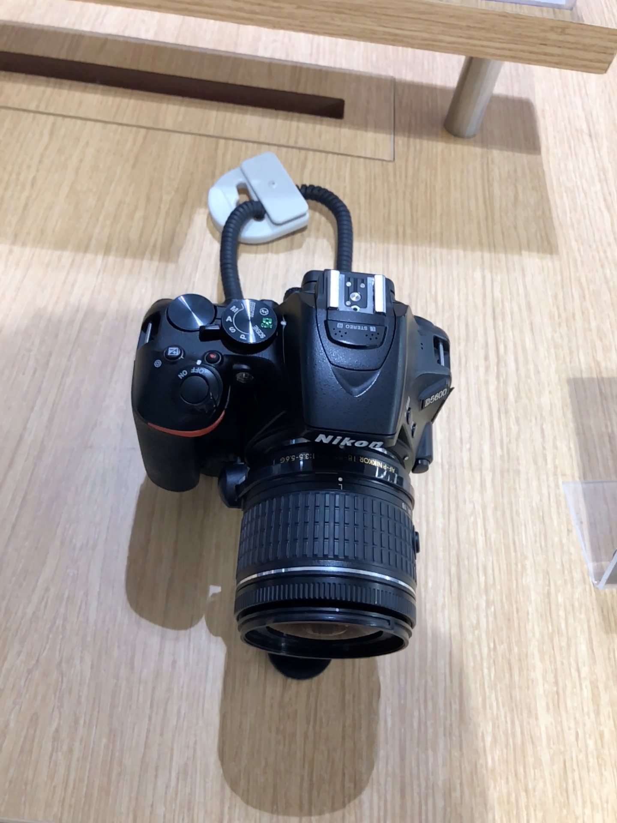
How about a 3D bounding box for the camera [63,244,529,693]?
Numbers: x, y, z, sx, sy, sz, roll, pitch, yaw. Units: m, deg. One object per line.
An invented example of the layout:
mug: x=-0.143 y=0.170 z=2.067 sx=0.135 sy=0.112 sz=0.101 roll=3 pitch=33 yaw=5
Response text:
camera: x=-0.004 y=0.020 z=0.240 sx=0.120 sy=0.070 sz=0.131 roll=5 pitch=58 yaw=-5
